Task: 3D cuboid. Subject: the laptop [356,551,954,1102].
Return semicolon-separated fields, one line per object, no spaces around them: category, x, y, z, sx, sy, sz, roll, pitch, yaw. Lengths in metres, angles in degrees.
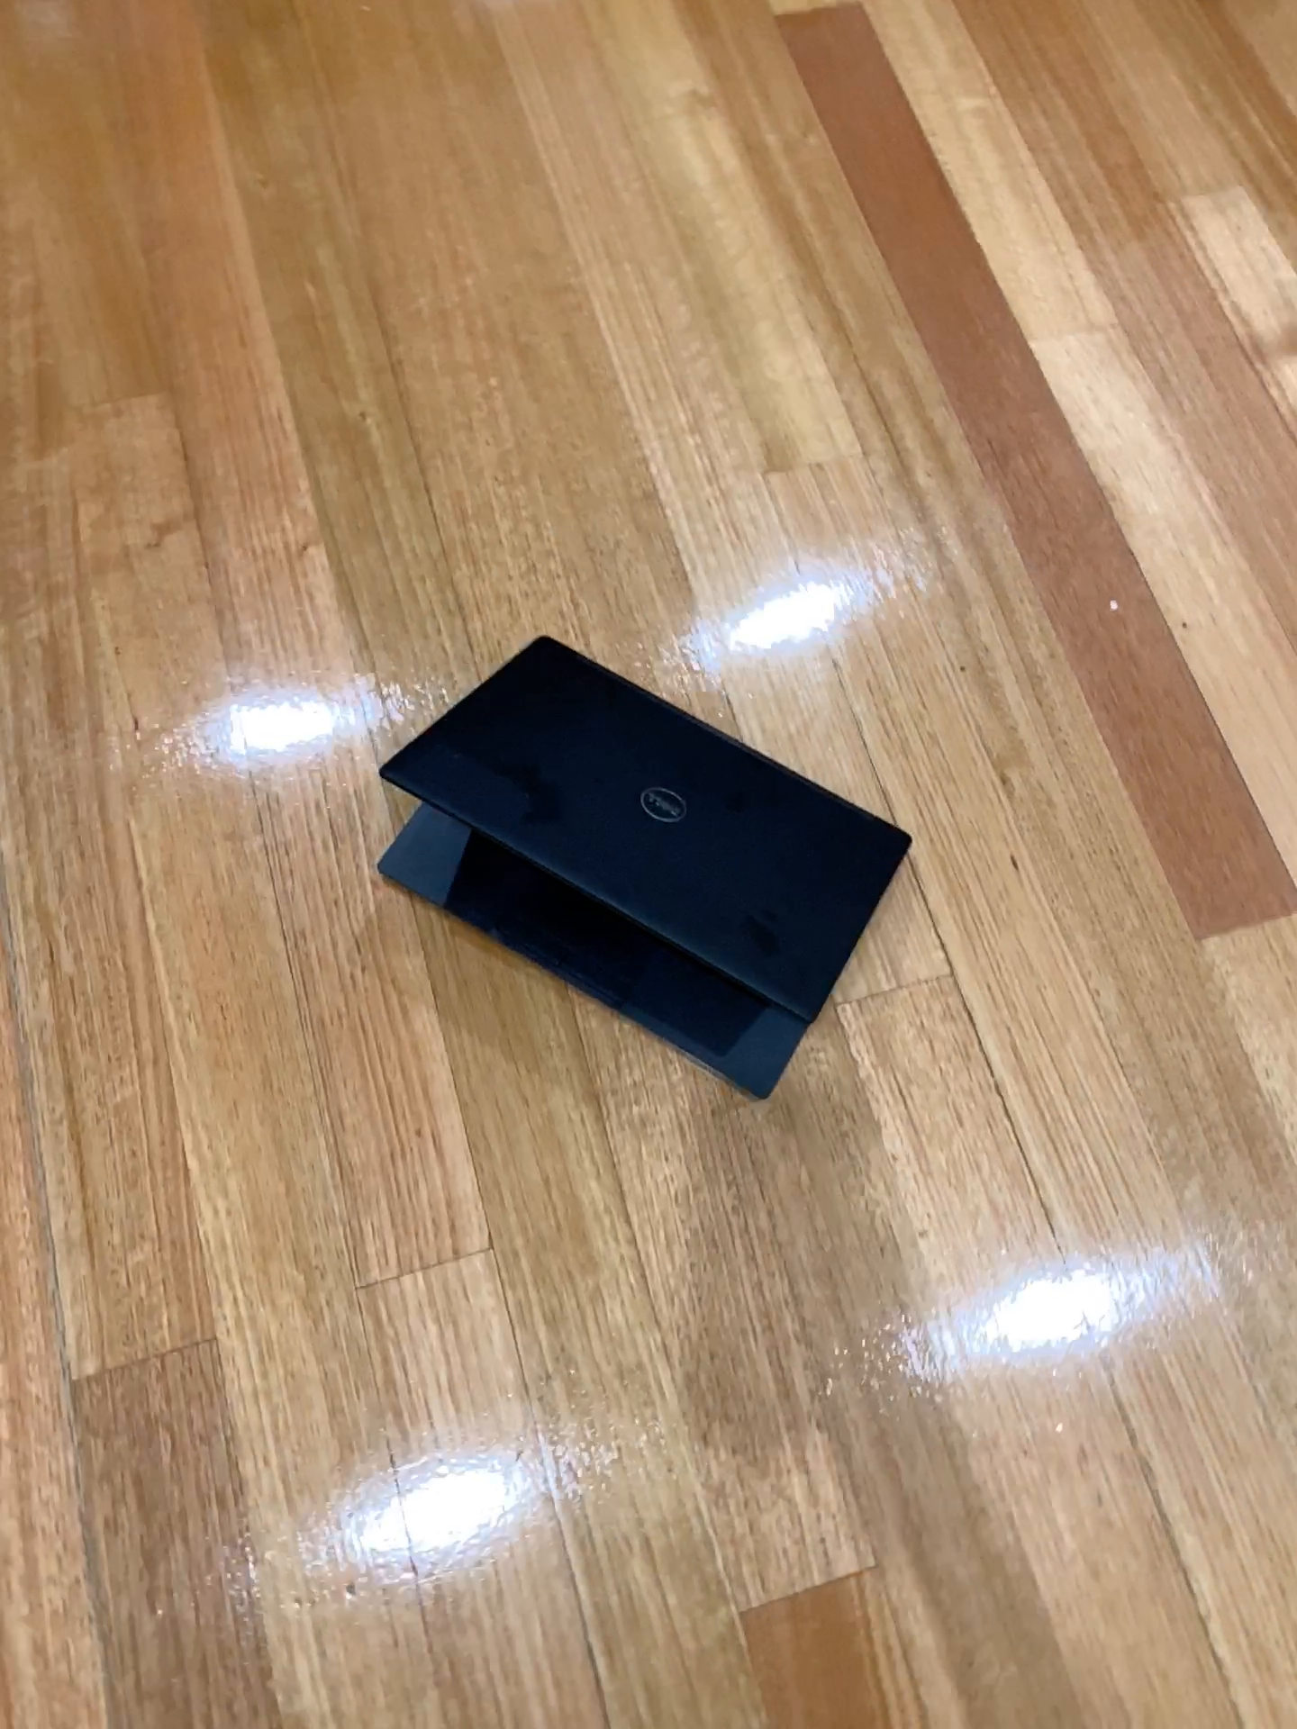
laptop;0.006;-0.026;0.839;0.296;0.110;0.207;30;68;8
